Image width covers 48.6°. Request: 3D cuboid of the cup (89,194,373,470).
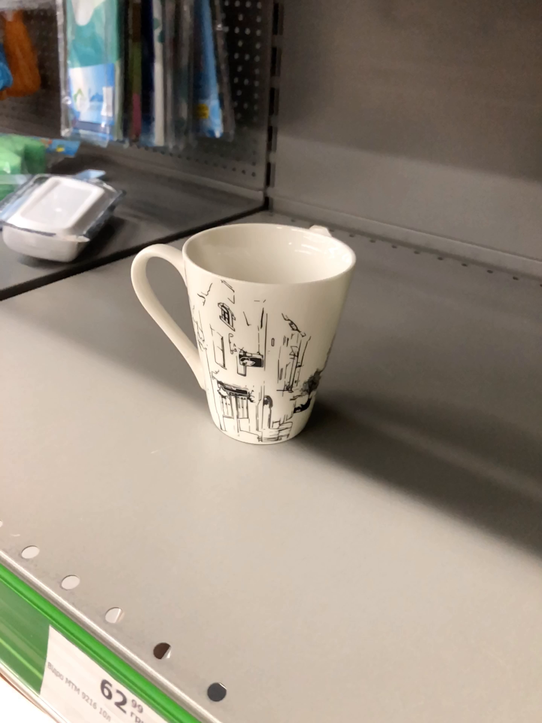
[{"bbox_3d":[-0.017,-0.023,0.323,0.114,0.098,0.092,13,31,17],"label":"cup"}]
